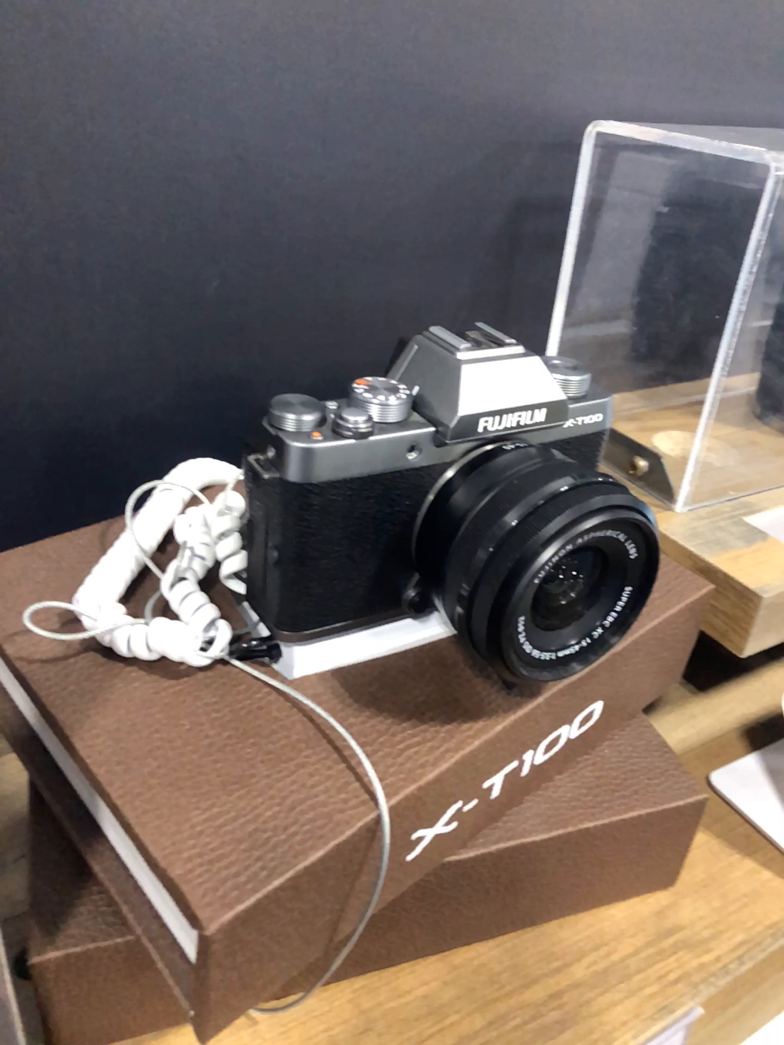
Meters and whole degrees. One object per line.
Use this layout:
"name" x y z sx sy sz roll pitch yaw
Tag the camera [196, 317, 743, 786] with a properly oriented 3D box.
"camera" 0.018 -0.003 0.280 0.130 0.089 0.101 -13 33 -29
